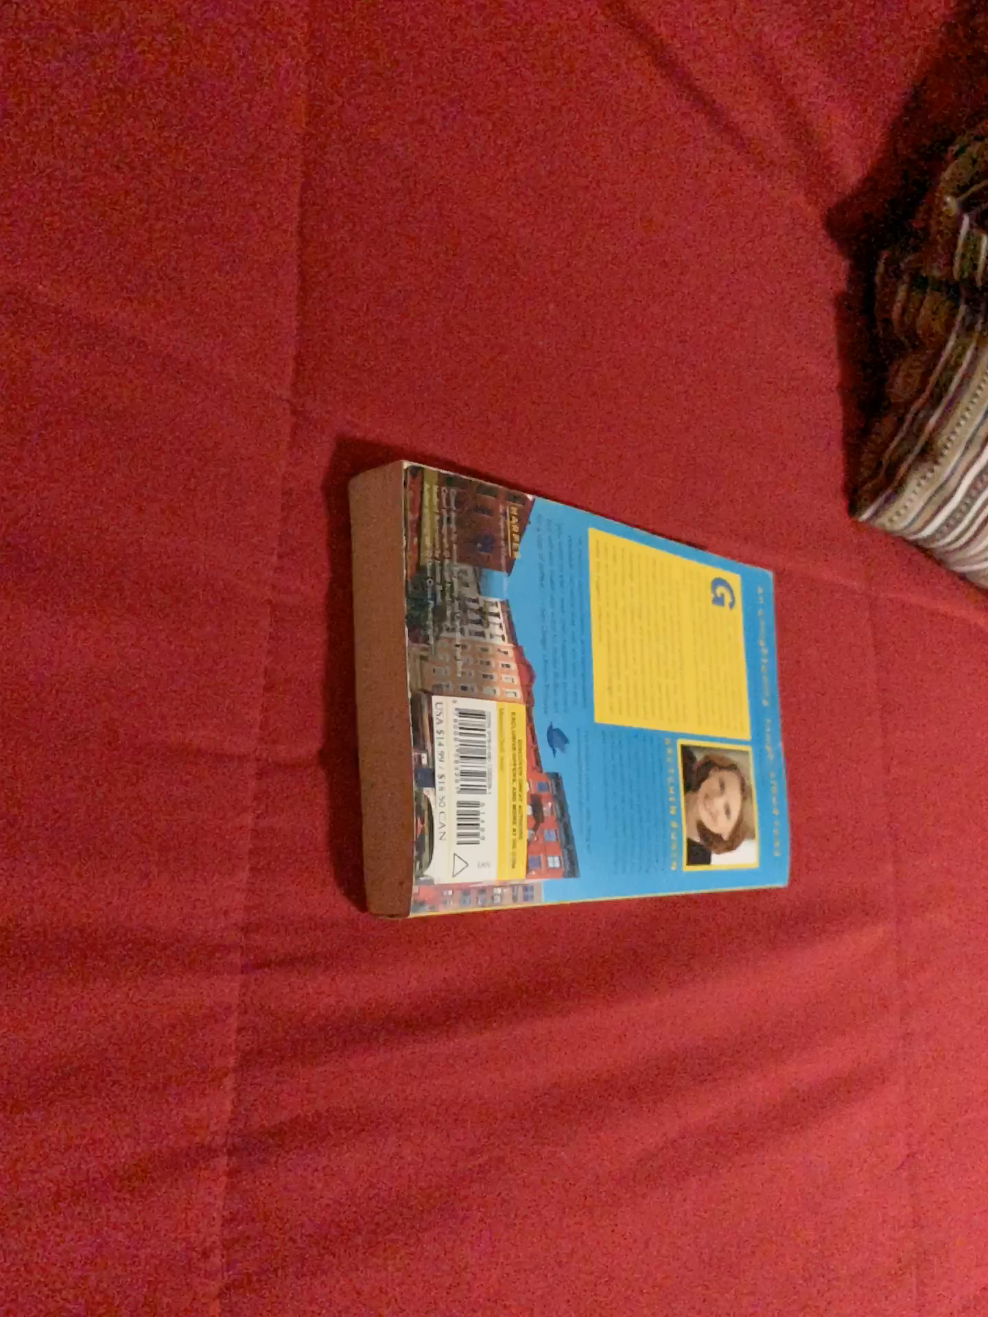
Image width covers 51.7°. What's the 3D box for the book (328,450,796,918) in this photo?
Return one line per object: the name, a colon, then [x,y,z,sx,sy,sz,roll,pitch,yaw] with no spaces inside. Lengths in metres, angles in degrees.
book: [0.035,0.019,0.365,0.203,0.033,0.132,10,74,-43]
